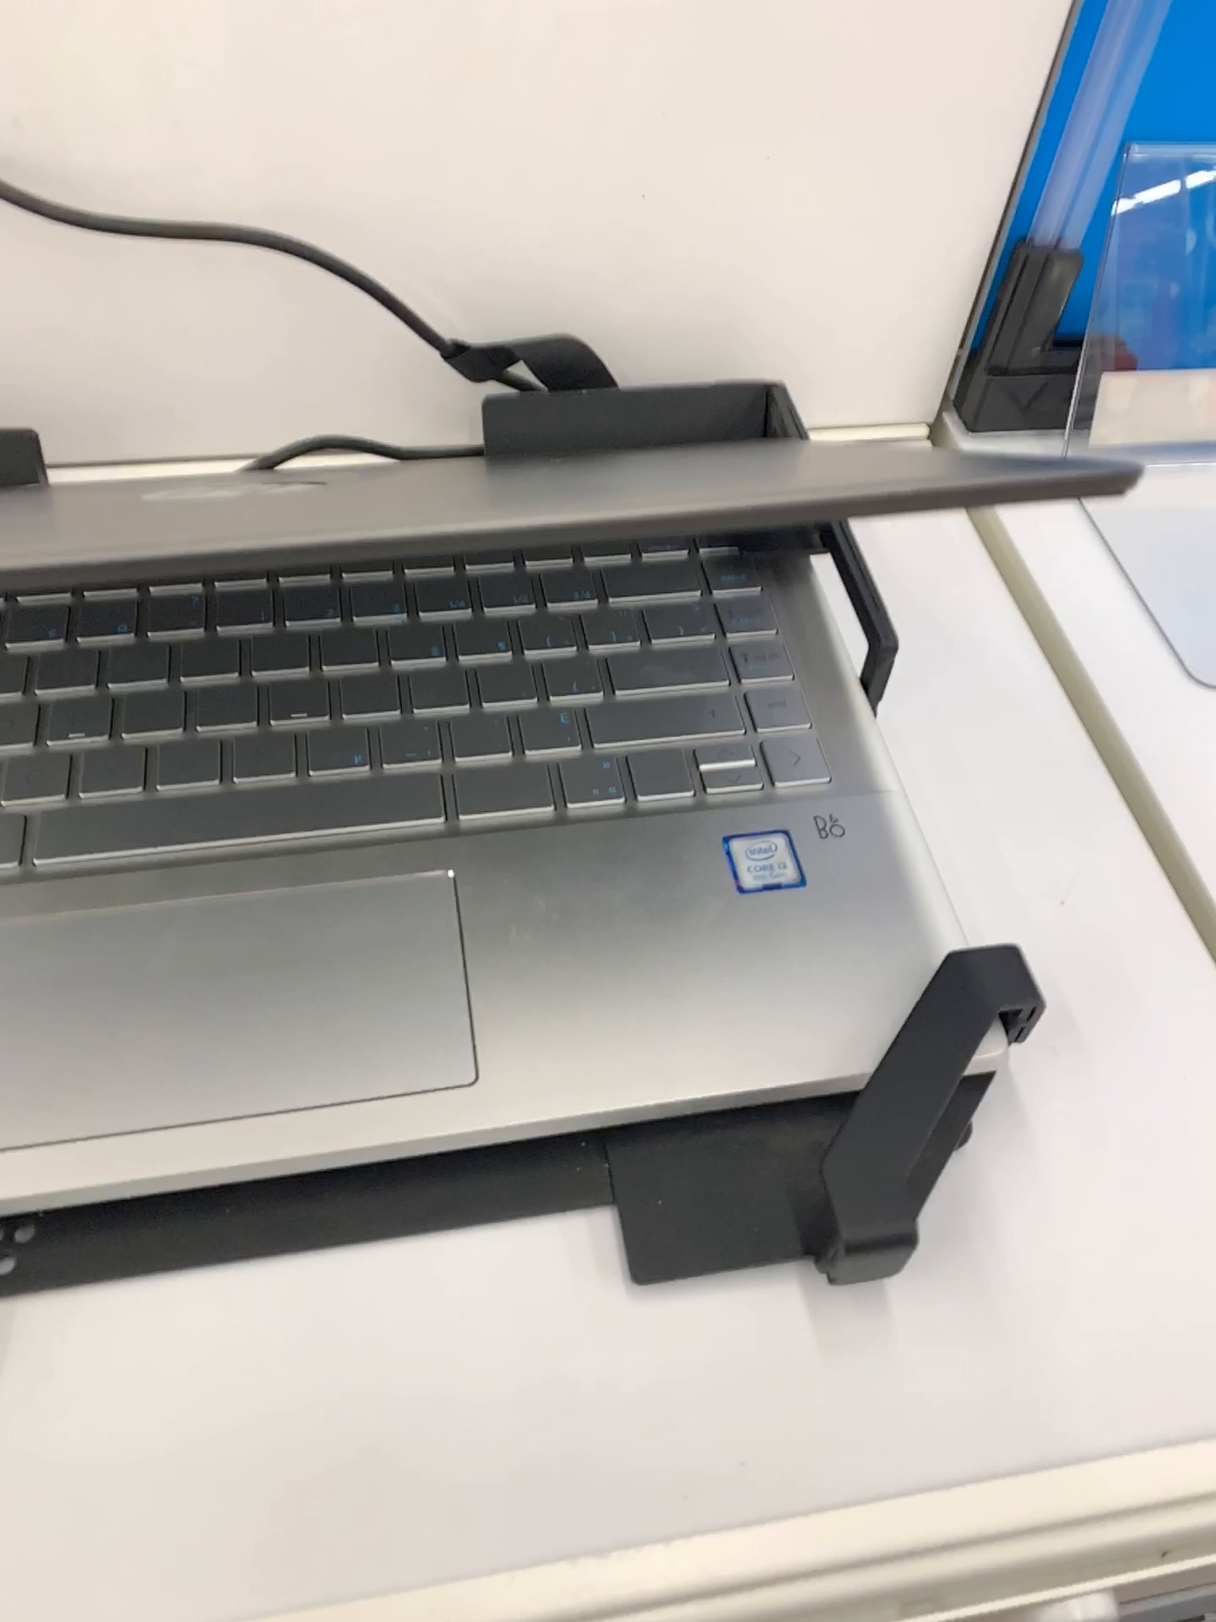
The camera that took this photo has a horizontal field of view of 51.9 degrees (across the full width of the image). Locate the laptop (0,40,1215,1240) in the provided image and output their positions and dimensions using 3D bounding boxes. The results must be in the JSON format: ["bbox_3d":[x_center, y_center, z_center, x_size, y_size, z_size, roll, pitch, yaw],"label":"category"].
[{"bbox_3d":[-0.073,-0.047,0.249,0.283,0.111,0.194,-6,53,-7],"label":"laptop"}]
